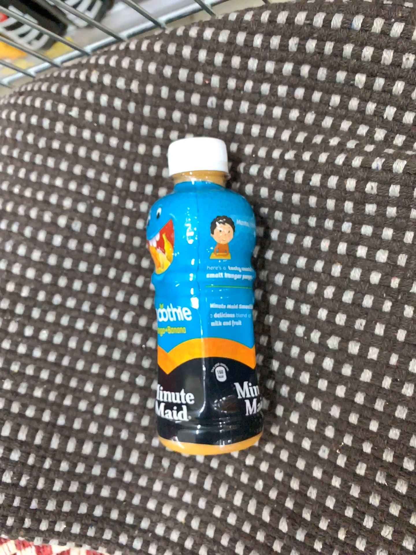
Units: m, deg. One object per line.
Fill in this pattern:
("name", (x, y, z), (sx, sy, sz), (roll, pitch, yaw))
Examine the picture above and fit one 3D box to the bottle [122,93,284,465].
("bottle", (-0.002, 0.002, 0.218), (0.060, 0.040, 0.160), (-4, 89, 26))
